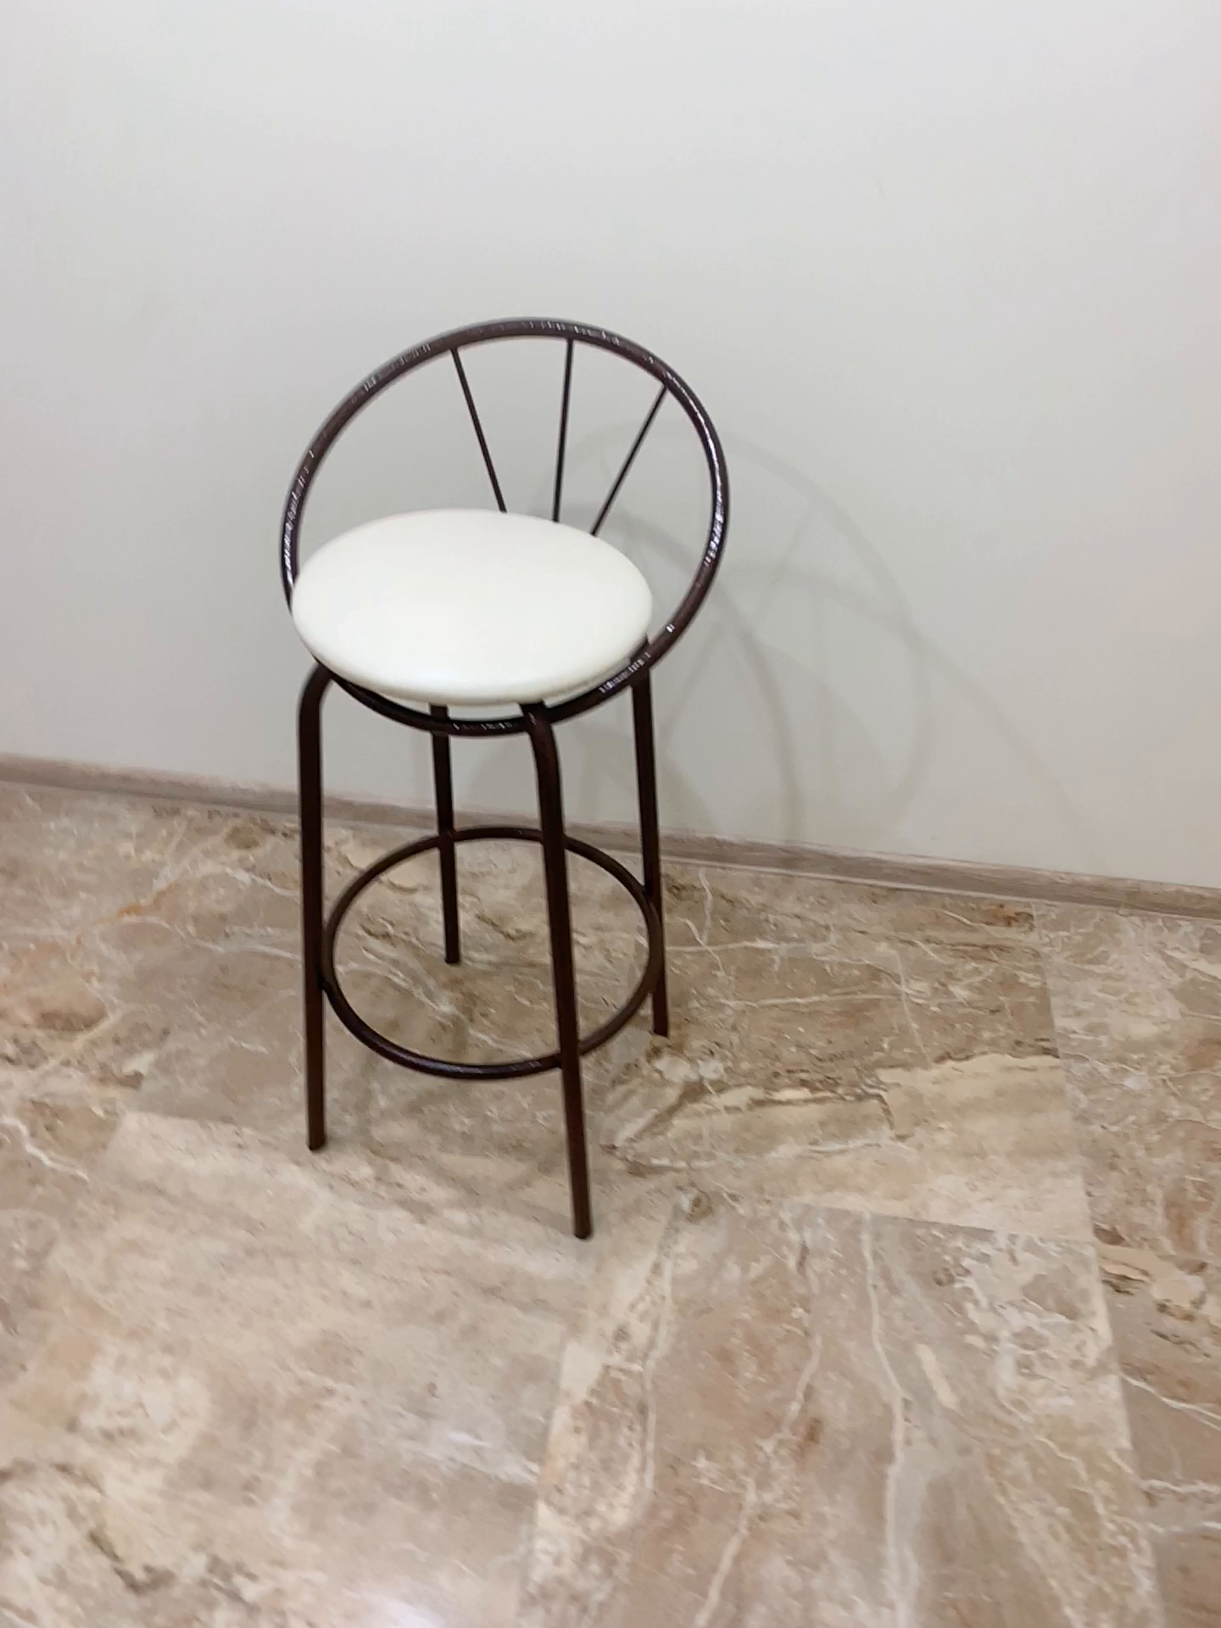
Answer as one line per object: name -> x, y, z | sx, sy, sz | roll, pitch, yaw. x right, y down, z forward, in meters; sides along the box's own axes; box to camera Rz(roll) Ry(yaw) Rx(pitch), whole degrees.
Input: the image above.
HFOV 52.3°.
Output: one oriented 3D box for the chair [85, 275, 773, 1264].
chair -> -0.126, -0.018, 1.236 | 0.400, 0.835, 0.402 | 14, 40, 14
